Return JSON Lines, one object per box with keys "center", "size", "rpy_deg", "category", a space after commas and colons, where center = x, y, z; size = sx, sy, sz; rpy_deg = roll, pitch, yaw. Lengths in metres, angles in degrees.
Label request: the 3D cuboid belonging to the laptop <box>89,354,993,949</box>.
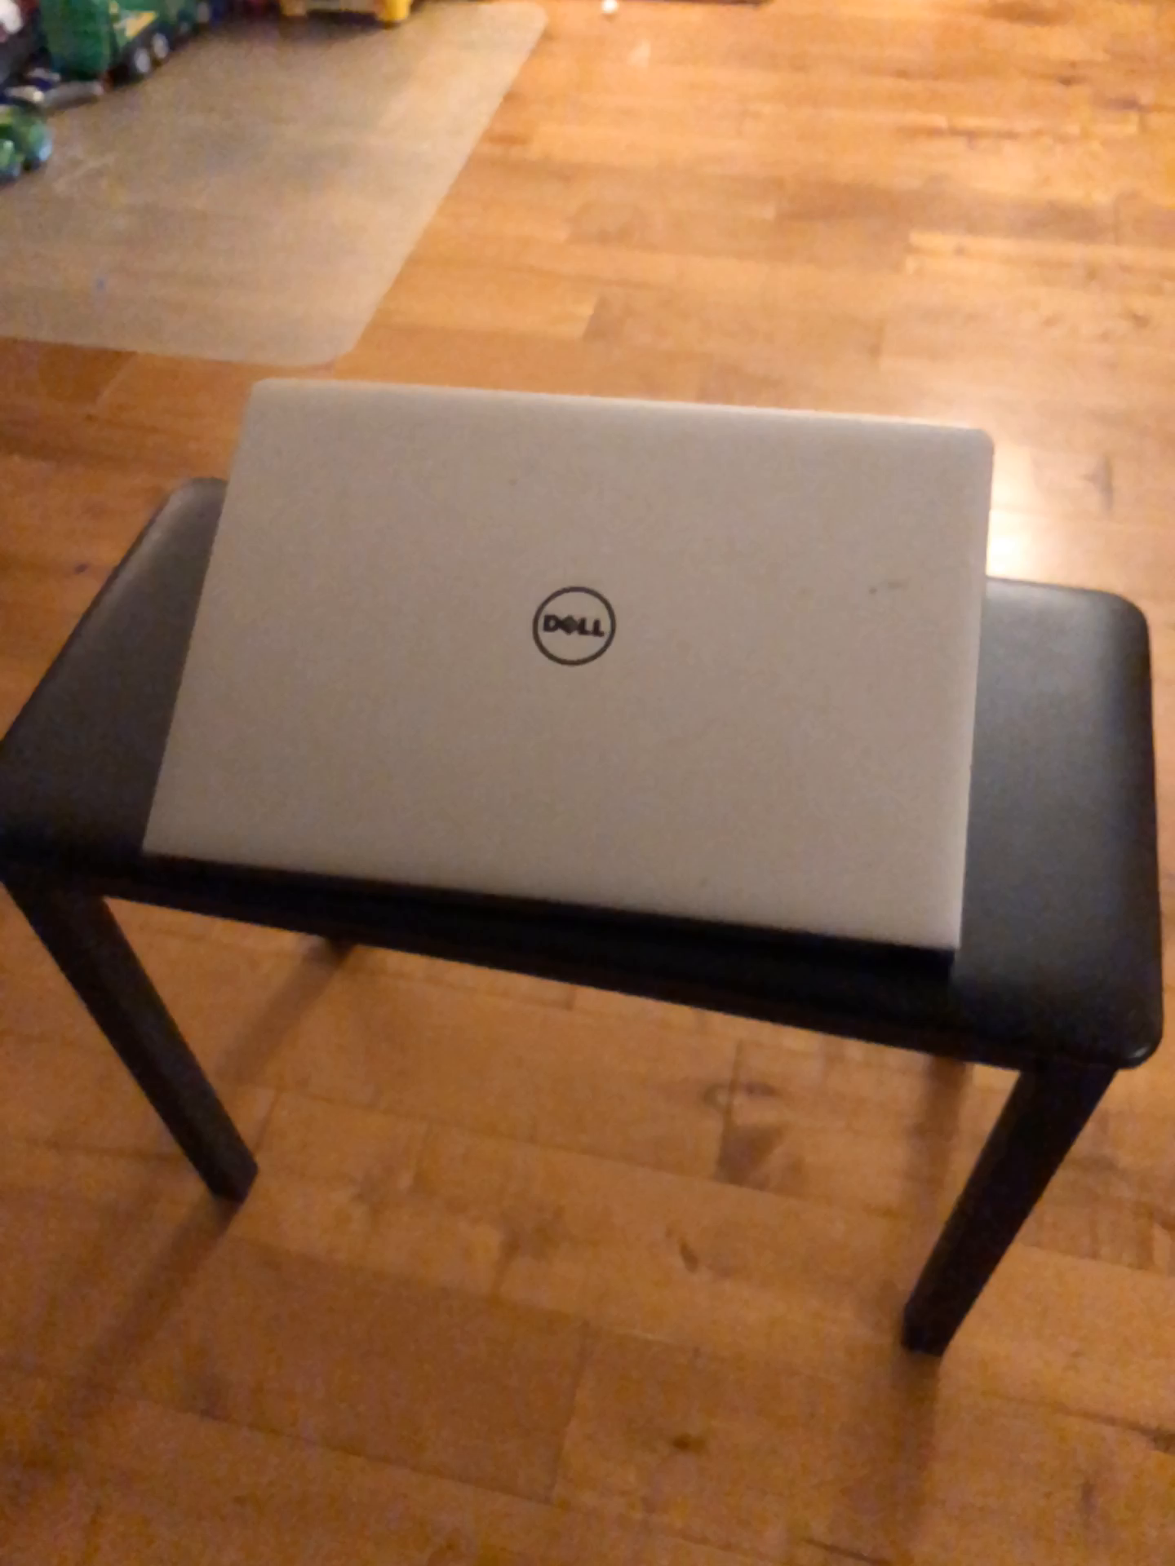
{"center": [-0.007, -0.077, 0.627], "size": [0.365, 0.107, 0.249], "rpy_deg": [6, 53, 8], "category": "laptop"}
